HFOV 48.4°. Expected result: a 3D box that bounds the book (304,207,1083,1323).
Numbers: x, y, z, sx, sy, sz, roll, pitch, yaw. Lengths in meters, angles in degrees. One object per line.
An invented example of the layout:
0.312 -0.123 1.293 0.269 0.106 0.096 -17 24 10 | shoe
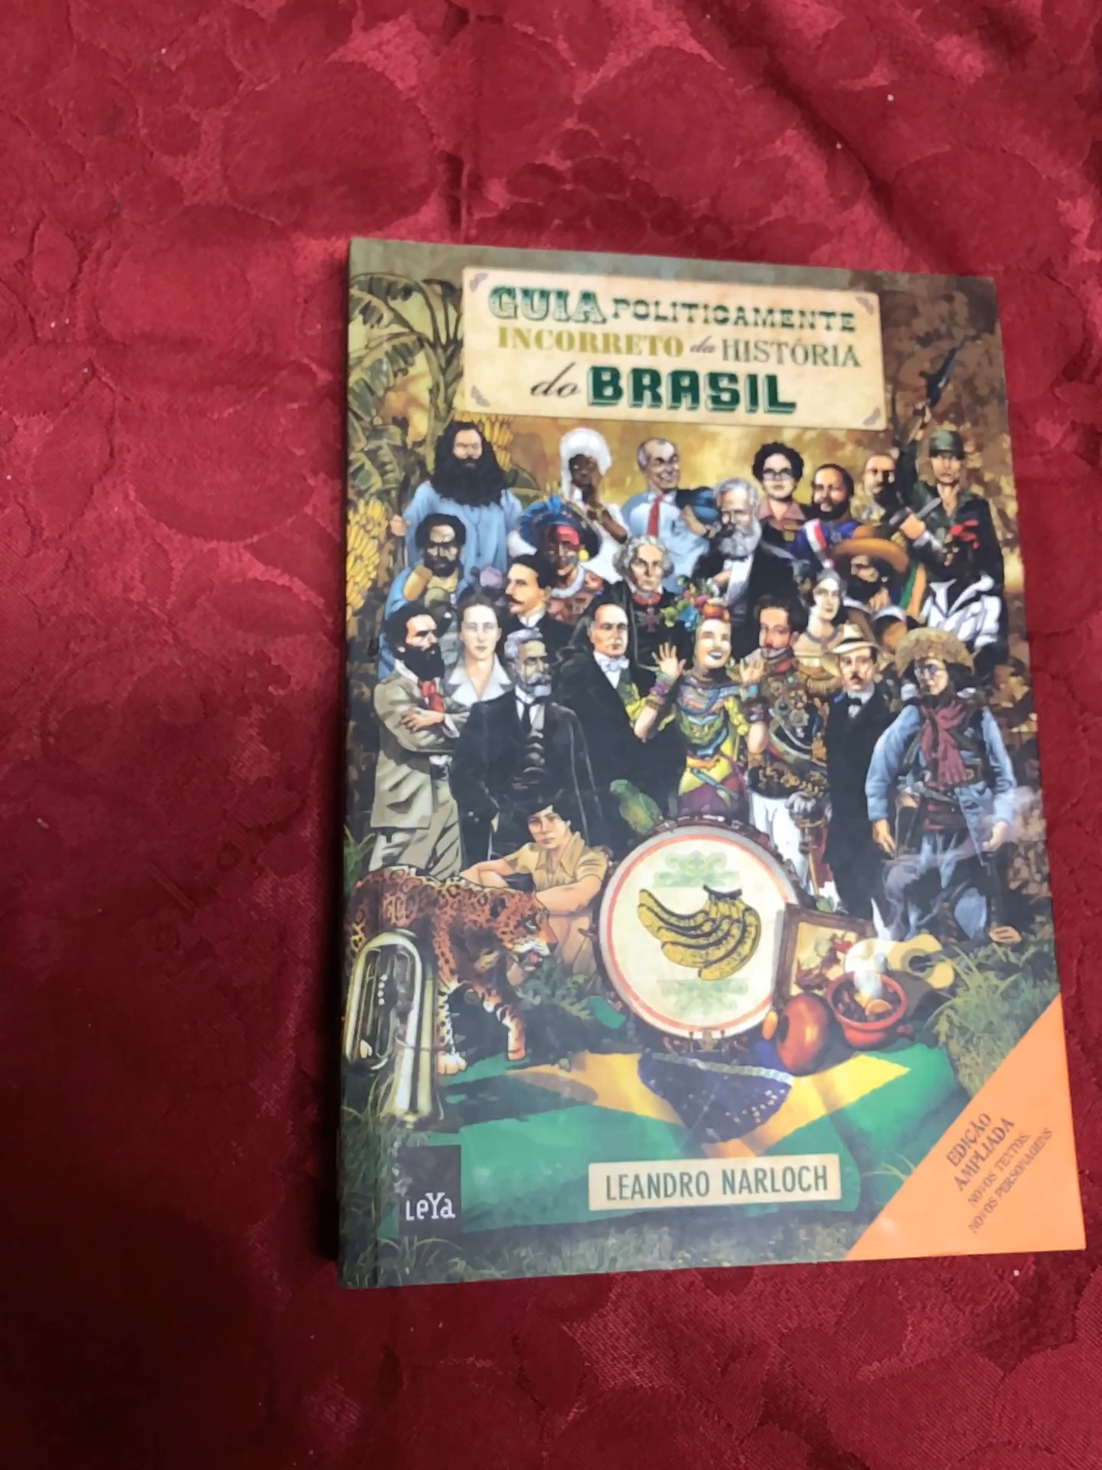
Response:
0.028 0.000 0.278 0.160 0.030 0.230 -1 83 -8 | book
